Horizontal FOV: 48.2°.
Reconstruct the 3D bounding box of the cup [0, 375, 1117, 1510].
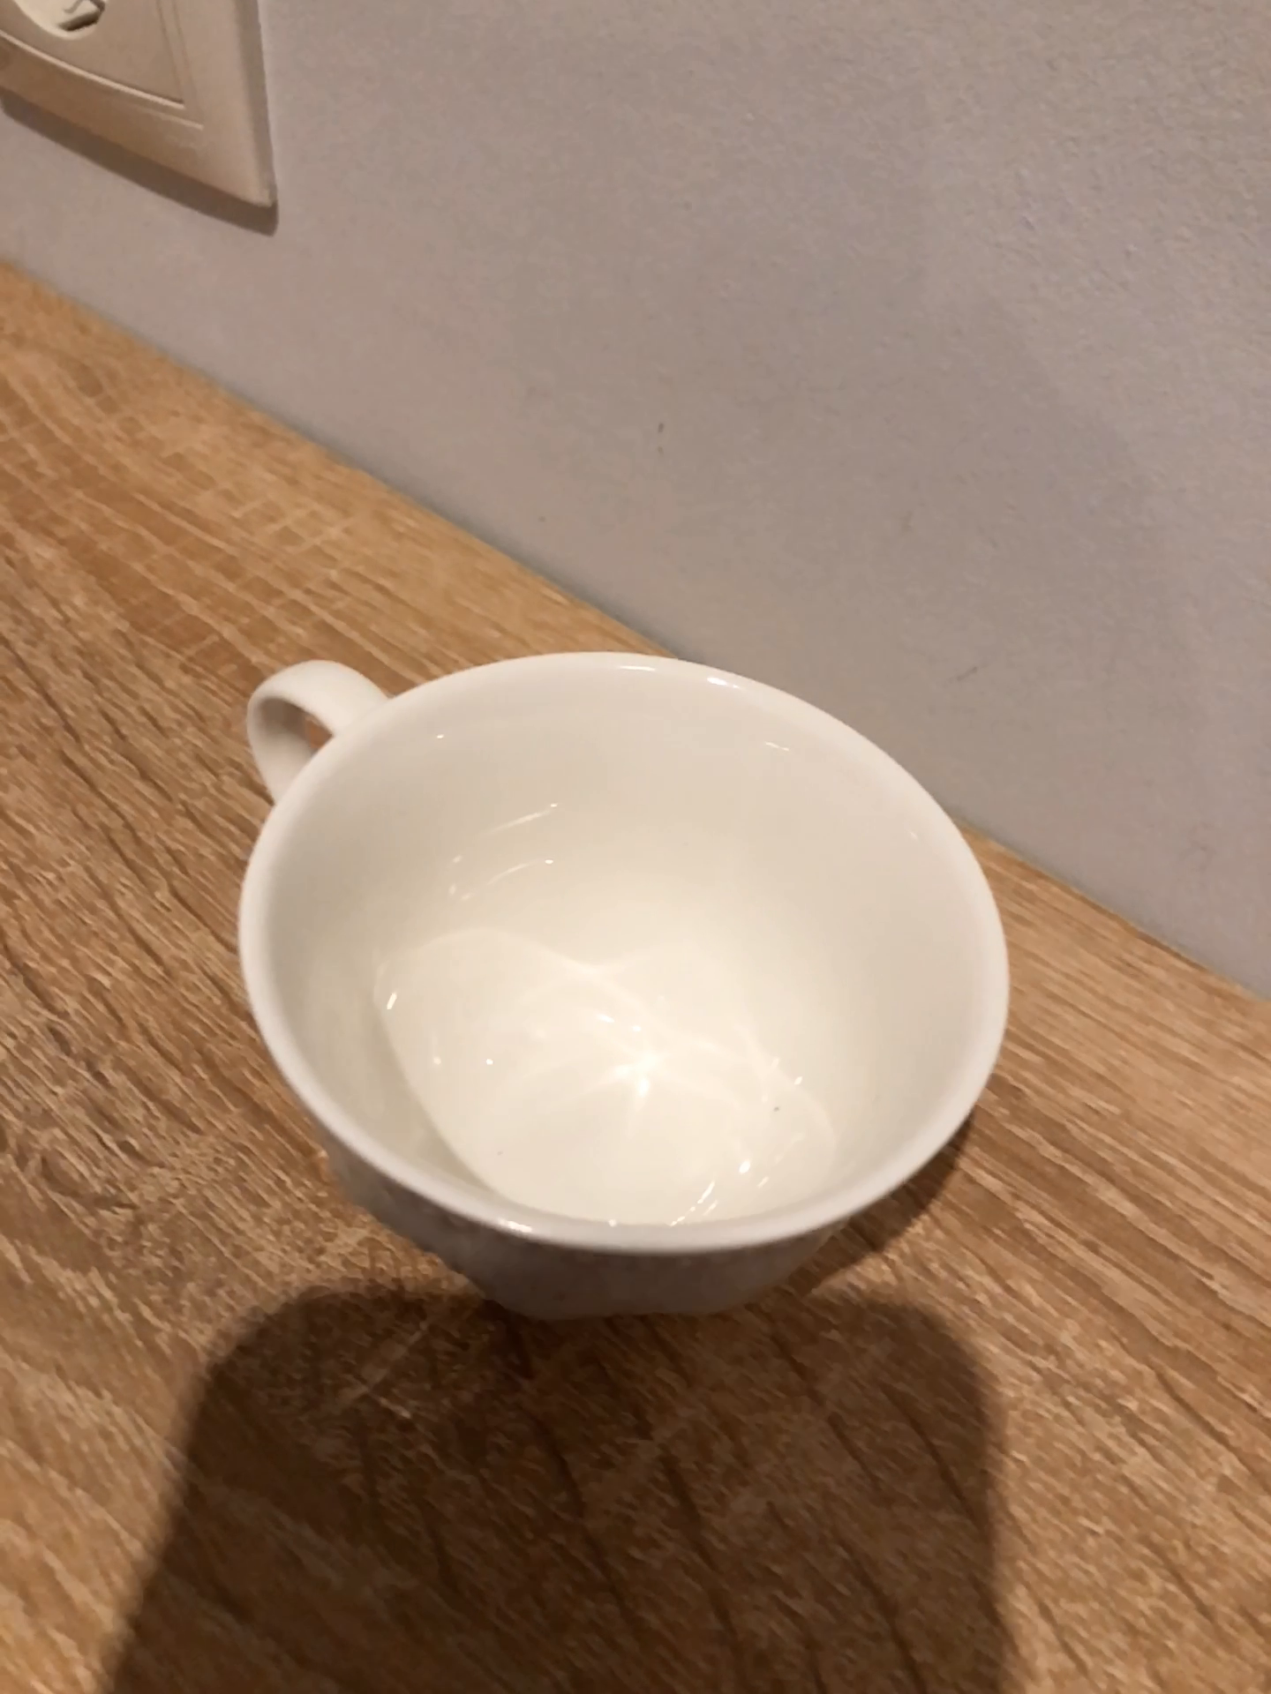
[{"bbox_3d":[-0.016,0.003,0.146,0.100,0.050,0.060,29,51,20],"label":"cup"}]
